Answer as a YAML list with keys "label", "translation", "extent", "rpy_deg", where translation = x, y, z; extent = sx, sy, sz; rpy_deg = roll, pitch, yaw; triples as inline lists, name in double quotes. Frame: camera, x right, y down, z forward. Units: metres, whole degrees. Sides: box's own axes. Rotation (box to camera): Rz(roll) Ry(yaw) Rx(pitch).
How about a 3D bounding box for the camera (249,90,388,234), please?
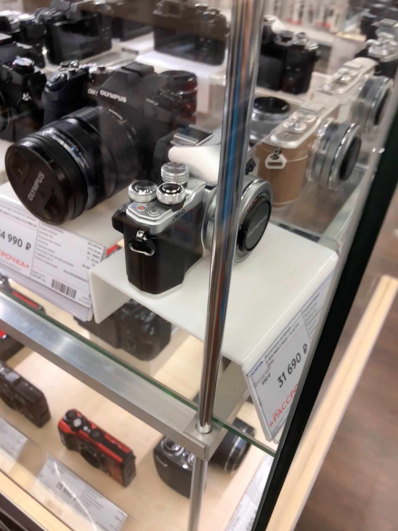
- label: "camera"
  translation: [0.109, -0.099, 0.398]
  extent: [0.065, 0.062, 0.140]
  rpy_deg: [24, 45, 22]

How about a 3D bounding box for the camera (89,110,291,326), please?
- label: "camera"
  translation: [-0.001, -0.039, 0.301]
  extent: [0.072, 0.080, 0.121]
  rpy_deg: [24, 45, 22]

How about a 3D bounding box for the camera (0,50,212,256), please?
- label: "camera"
  translation: [-0.072, -0.096, 0.345]
  extent: [0.102, 0.087, 0.137]
  rpy_deg: [25, 45, 23]
